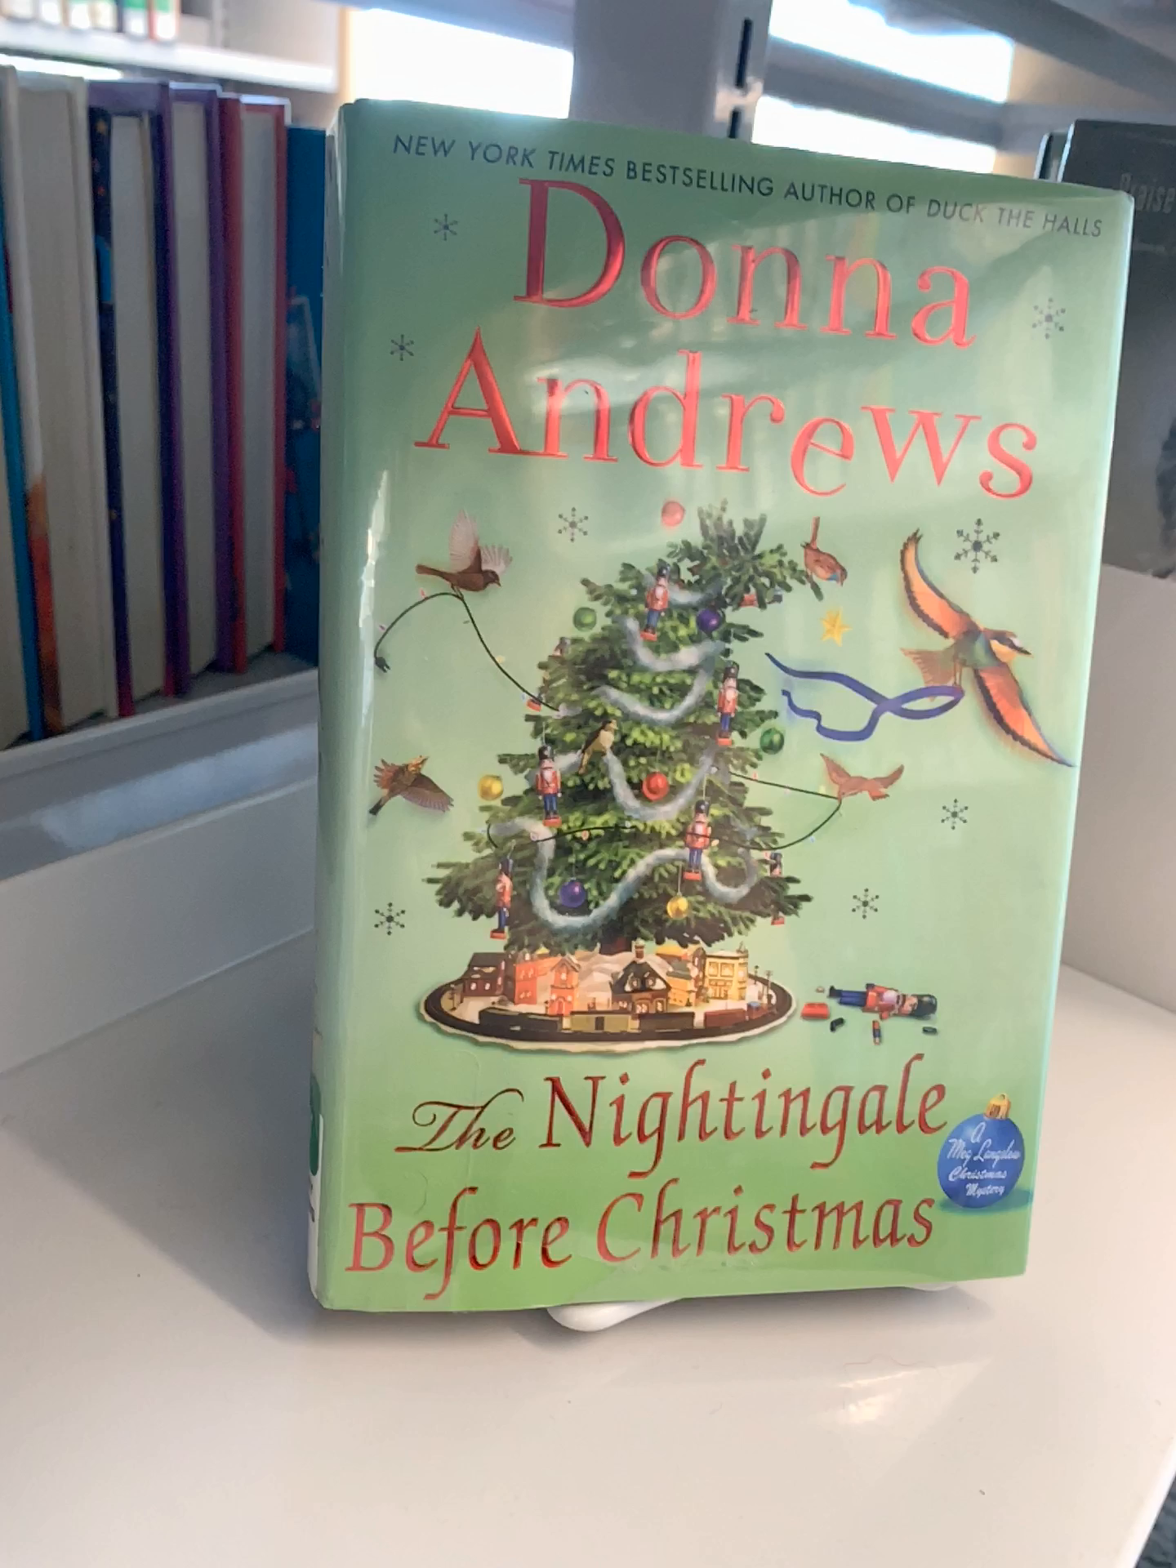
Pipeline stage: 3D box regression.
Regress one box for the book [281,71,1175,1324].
[{"bbox_3d":[0.021,-0.008,0.228,0.145,0.200,0.040,2,7,-11],"label":"book"}]
